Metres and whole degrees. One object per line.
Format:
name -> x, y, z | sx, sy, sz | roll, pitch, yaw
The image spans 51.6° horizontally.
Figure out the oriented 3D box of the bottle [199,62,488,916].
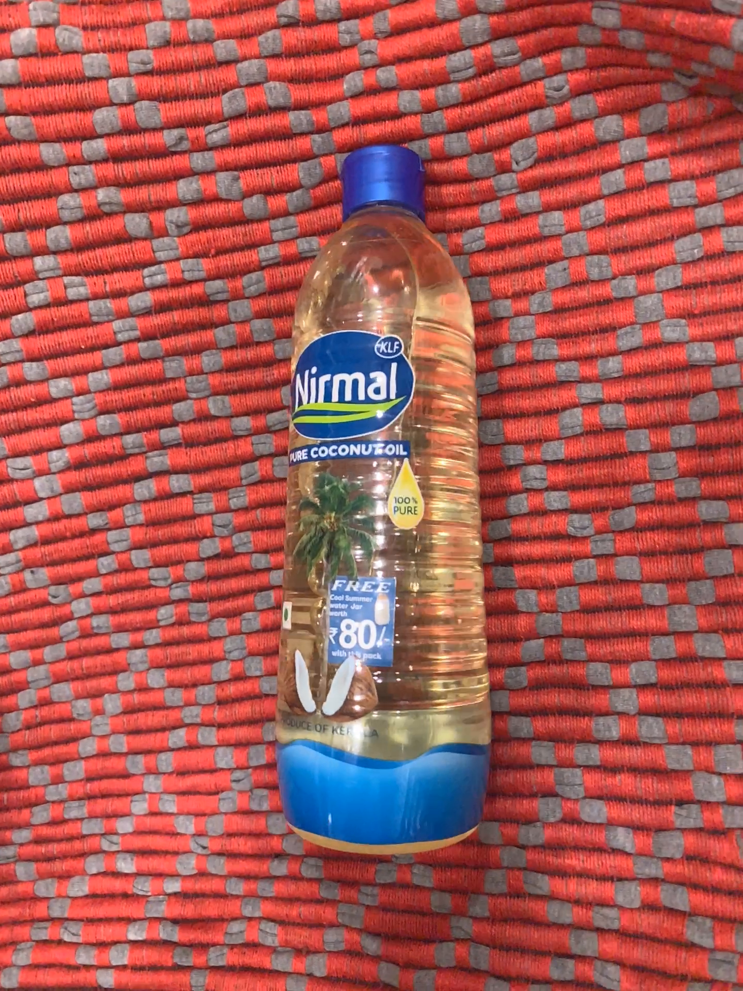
bottle -> -0.005, -0.003, 0.215 | 0.060, 0.050, 0.200 | -1, 85, 26
